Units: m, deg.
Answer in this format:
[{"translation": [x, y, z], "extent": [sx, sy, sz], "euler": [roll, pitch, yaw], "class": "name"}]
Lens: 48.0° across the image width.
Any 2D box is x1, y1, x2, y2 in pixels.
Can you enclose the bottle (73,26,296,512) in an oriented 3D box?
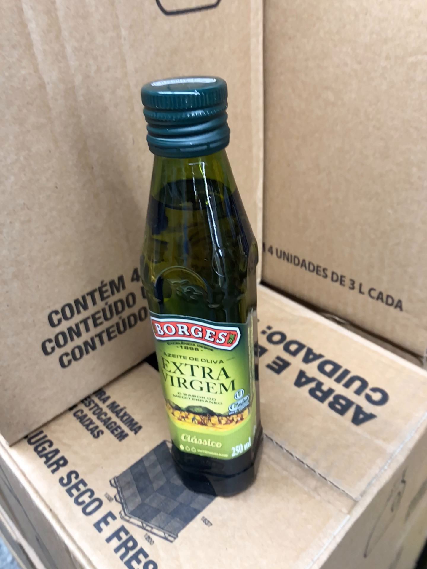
[{"translation": [-0.001, 0.010, 0.219], "extent": [0.060, 0.218, 0.060], "euler": [-2, 35, 1], "class": "bottle"}]
